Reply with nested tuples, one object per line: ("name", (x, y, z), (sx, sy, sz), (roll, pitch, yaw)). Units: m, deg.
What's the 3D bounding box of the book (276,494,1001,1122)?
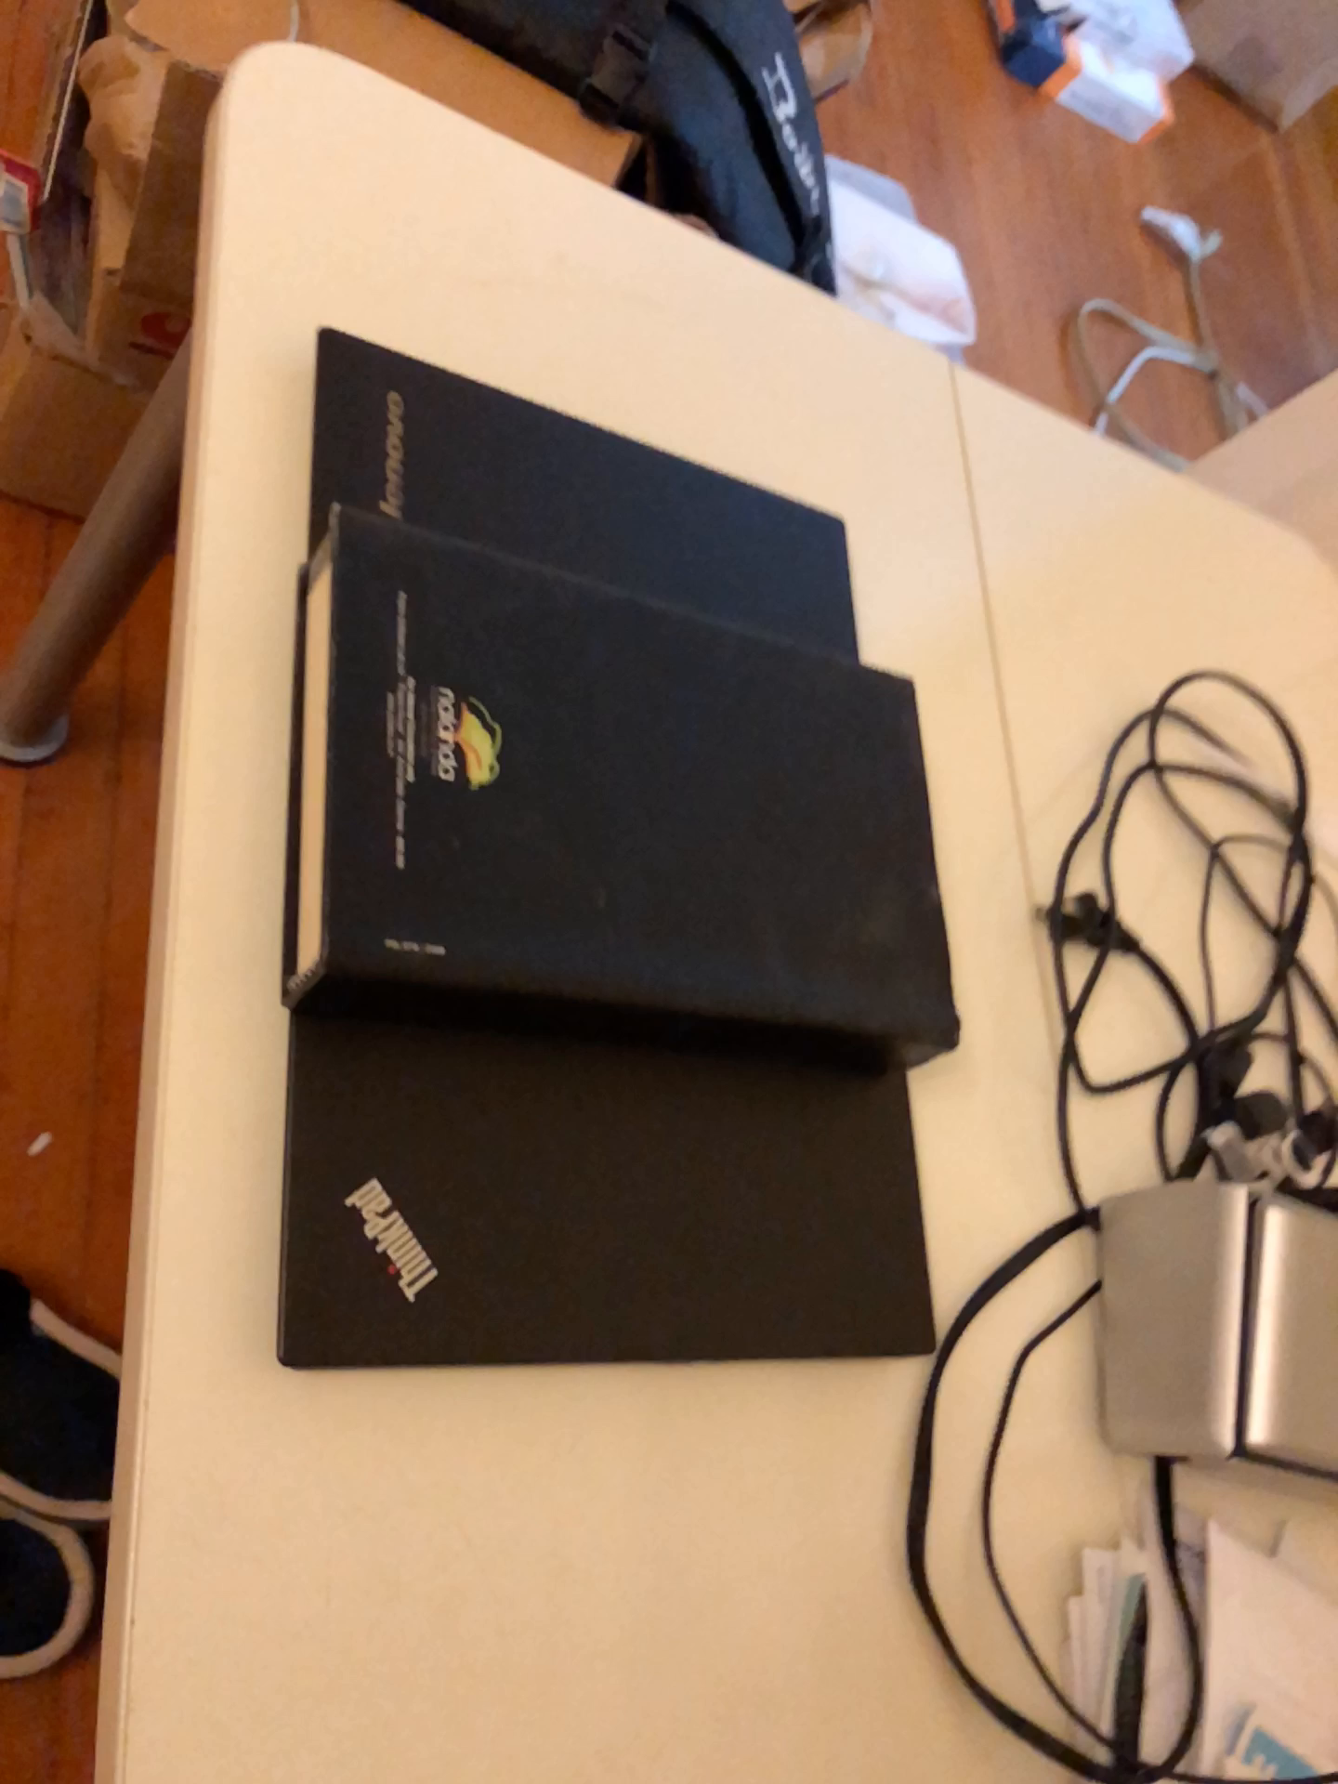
("book", (-0.001, -0.015, 0.462), (0.231, 0.040, 0.150), (11, 64, -34))
